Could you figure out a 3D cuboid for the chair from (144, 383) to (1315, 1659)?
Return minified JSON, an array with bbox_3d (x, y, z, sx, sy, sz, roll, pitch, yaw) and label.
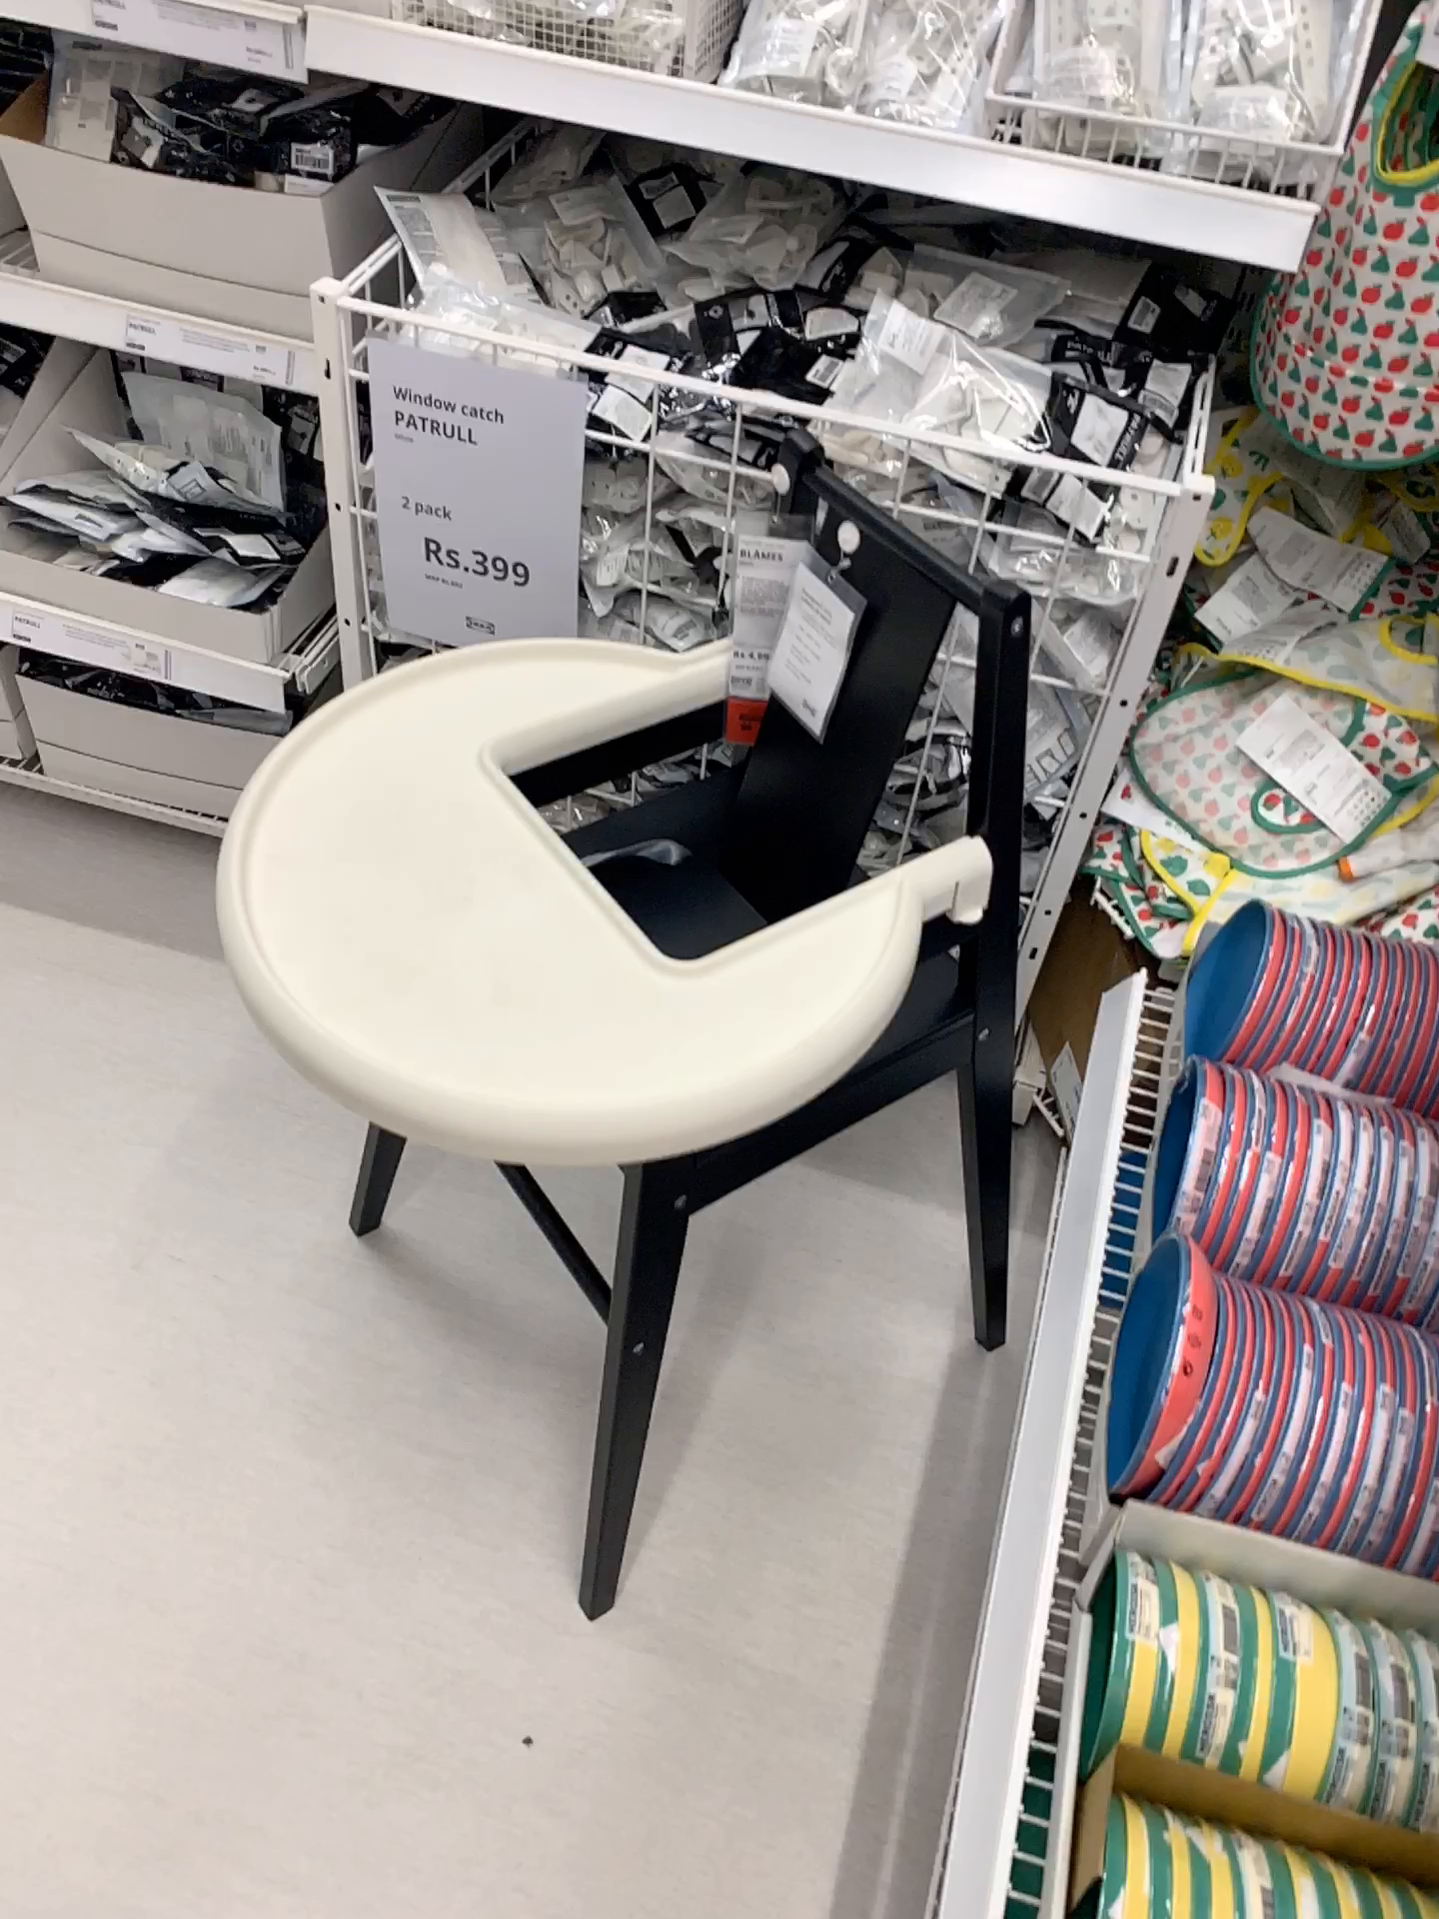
[{"bbox_3d":[-0.035,0.062,1.222,0.551,0.777,0.532,-24,54,-26],"label":"chair"}]
